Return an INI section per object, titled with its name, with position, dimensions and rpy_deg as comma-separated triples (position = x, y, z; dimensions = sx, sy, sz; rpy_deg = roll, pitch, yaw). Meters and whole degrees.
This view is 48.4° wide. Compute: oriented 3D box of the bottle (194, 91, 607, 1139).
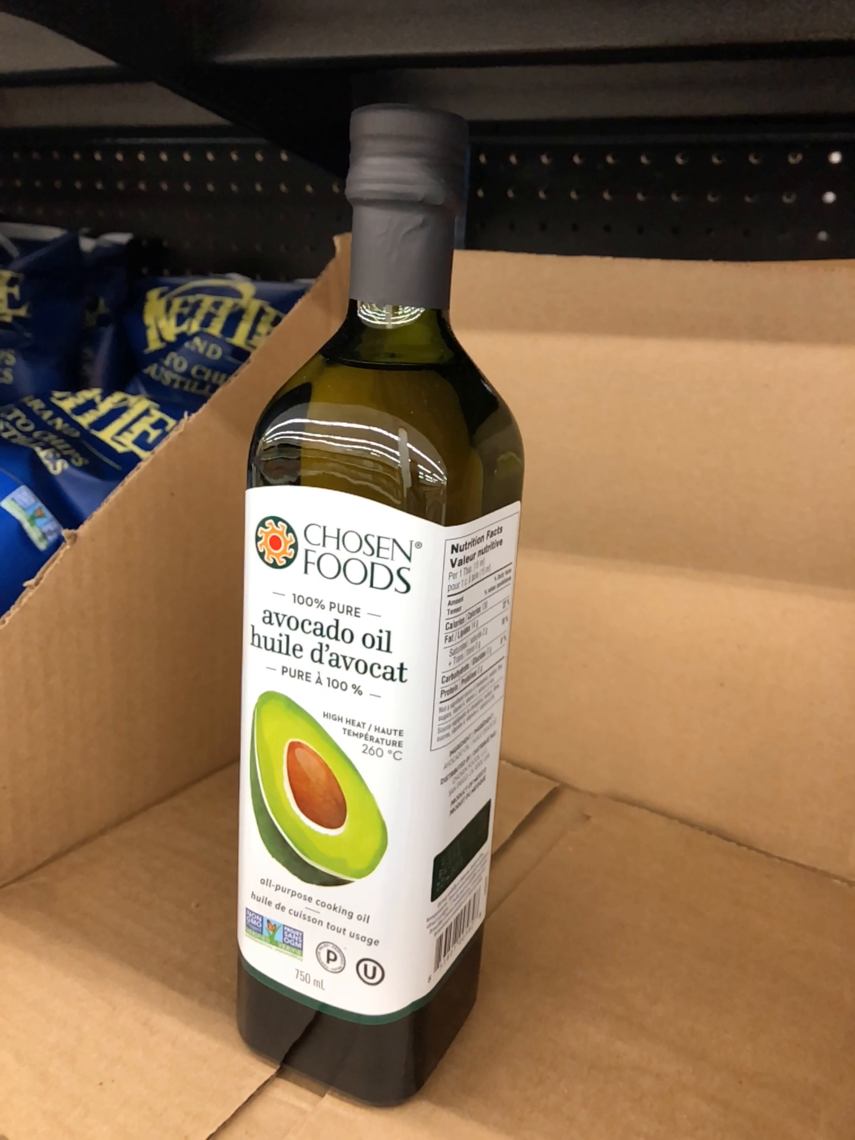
[bottle]
position = -0.012, 0.024, 0.305
dimensions = 0.090, 0.308, 0.070
rpy_deg = 11, 19, 24
